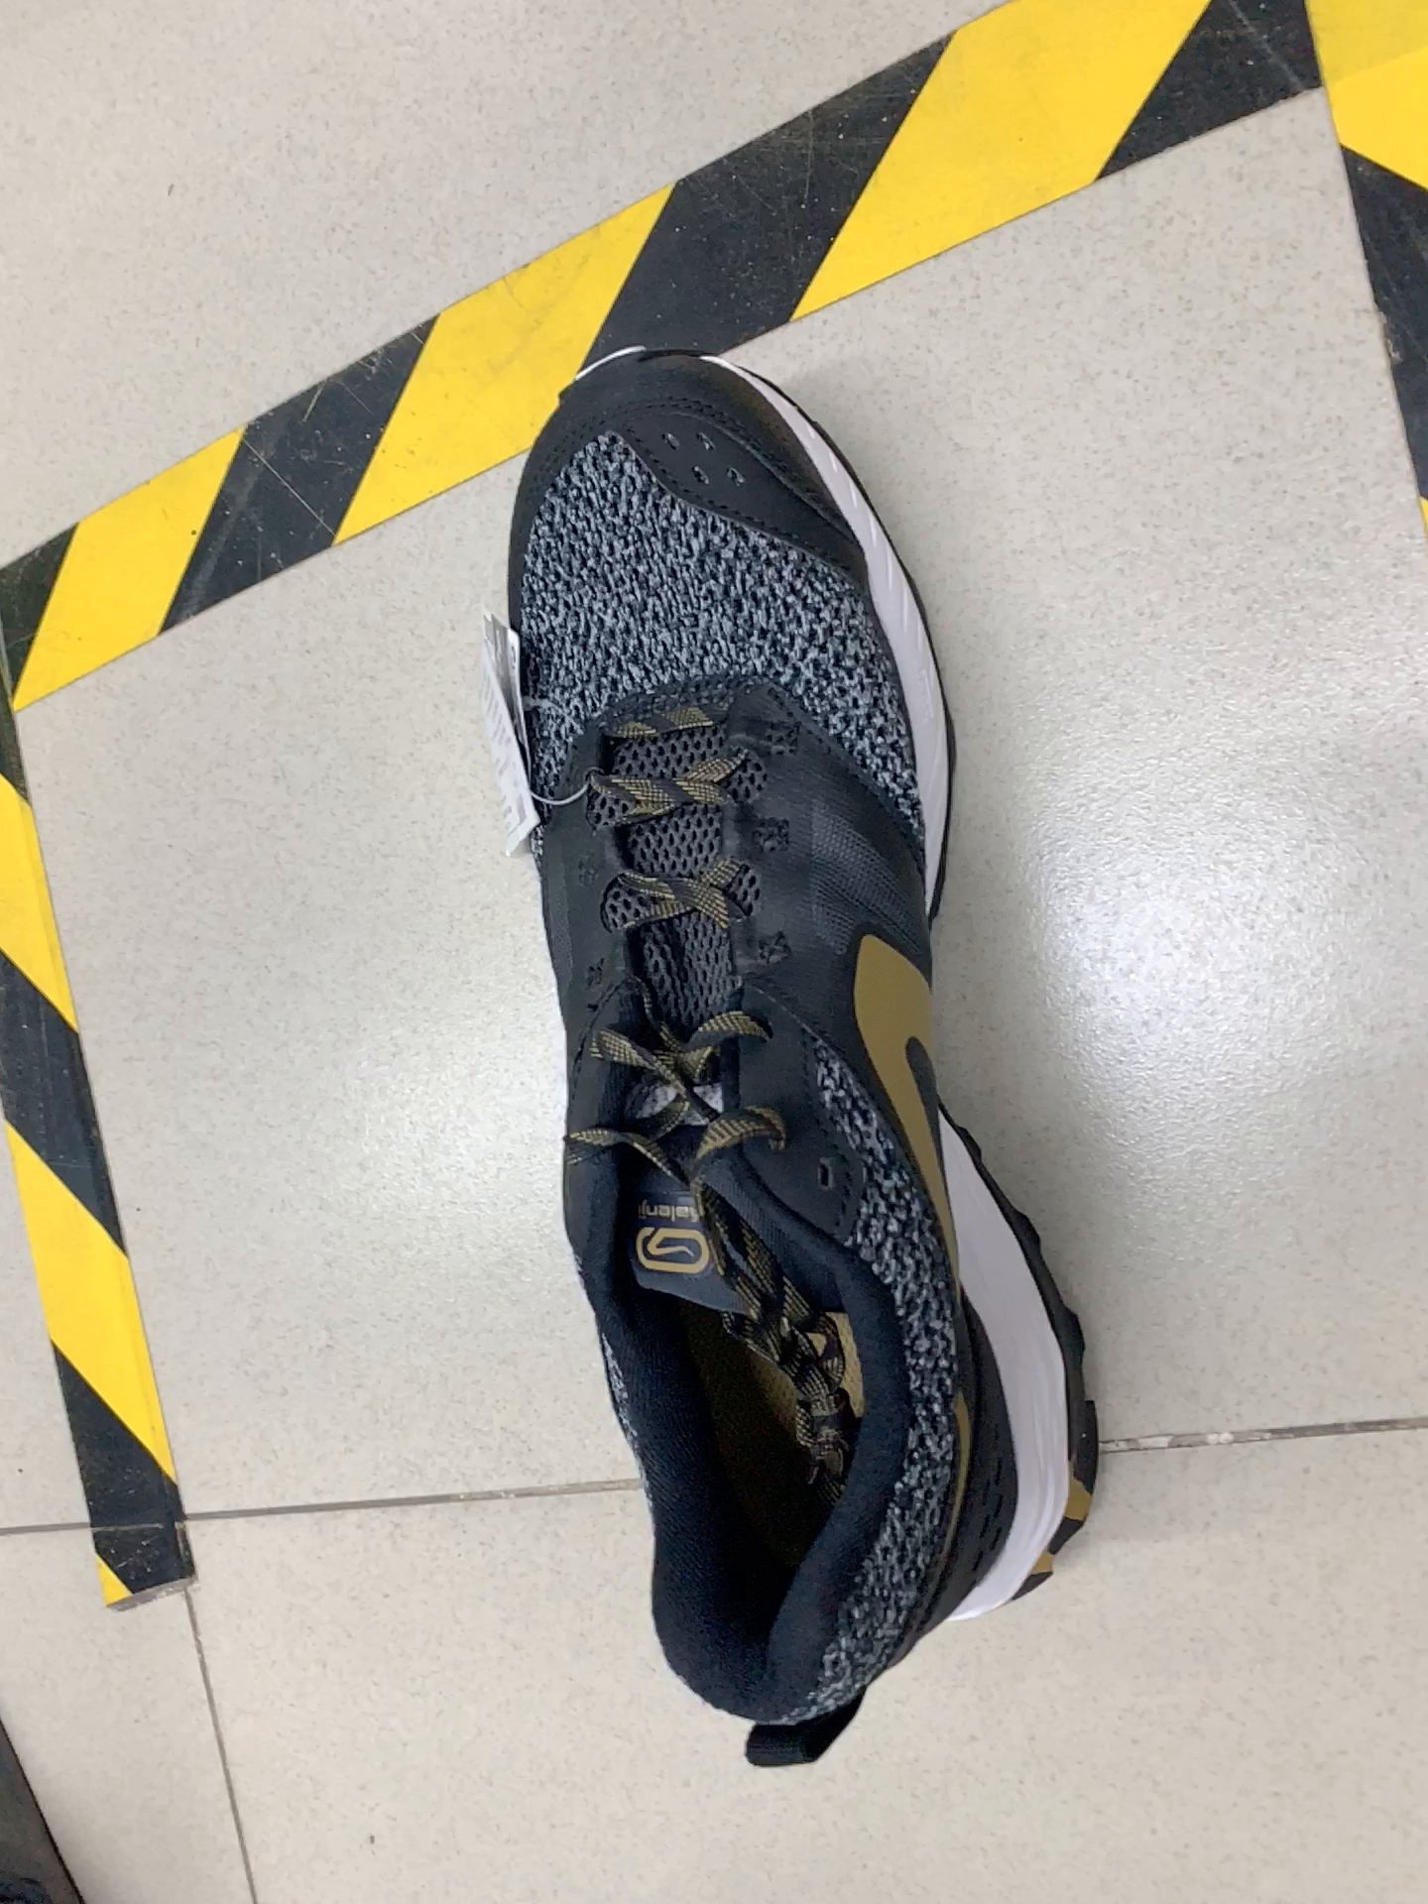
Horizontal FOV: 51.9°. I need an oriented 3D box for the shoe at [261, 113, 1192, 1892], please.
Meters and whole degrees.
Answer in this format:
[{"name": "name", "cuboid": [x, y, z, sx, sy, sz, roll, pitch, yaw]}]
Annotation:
[{"name": "shoe", "cuboid": [0.007, 0.013, 0.313, 0.110, 0.100, 0.300, -12, 88, 27]}]
